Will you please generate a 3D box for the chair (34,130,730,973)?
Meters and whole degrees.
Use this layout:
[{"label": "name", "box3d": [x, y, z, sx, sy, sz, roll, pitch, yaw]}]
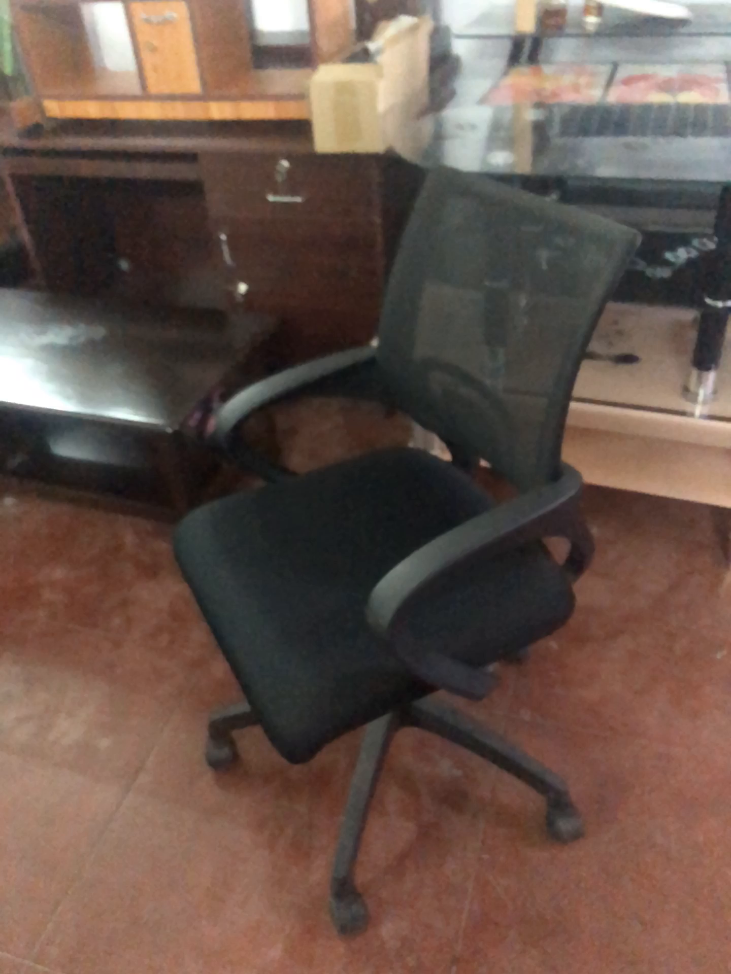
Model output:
[{"label": "chair", "box3d": [0.030, 0.070, 1.231, 0.632, 0.915, 0.752, -21, 39, -21]}]
